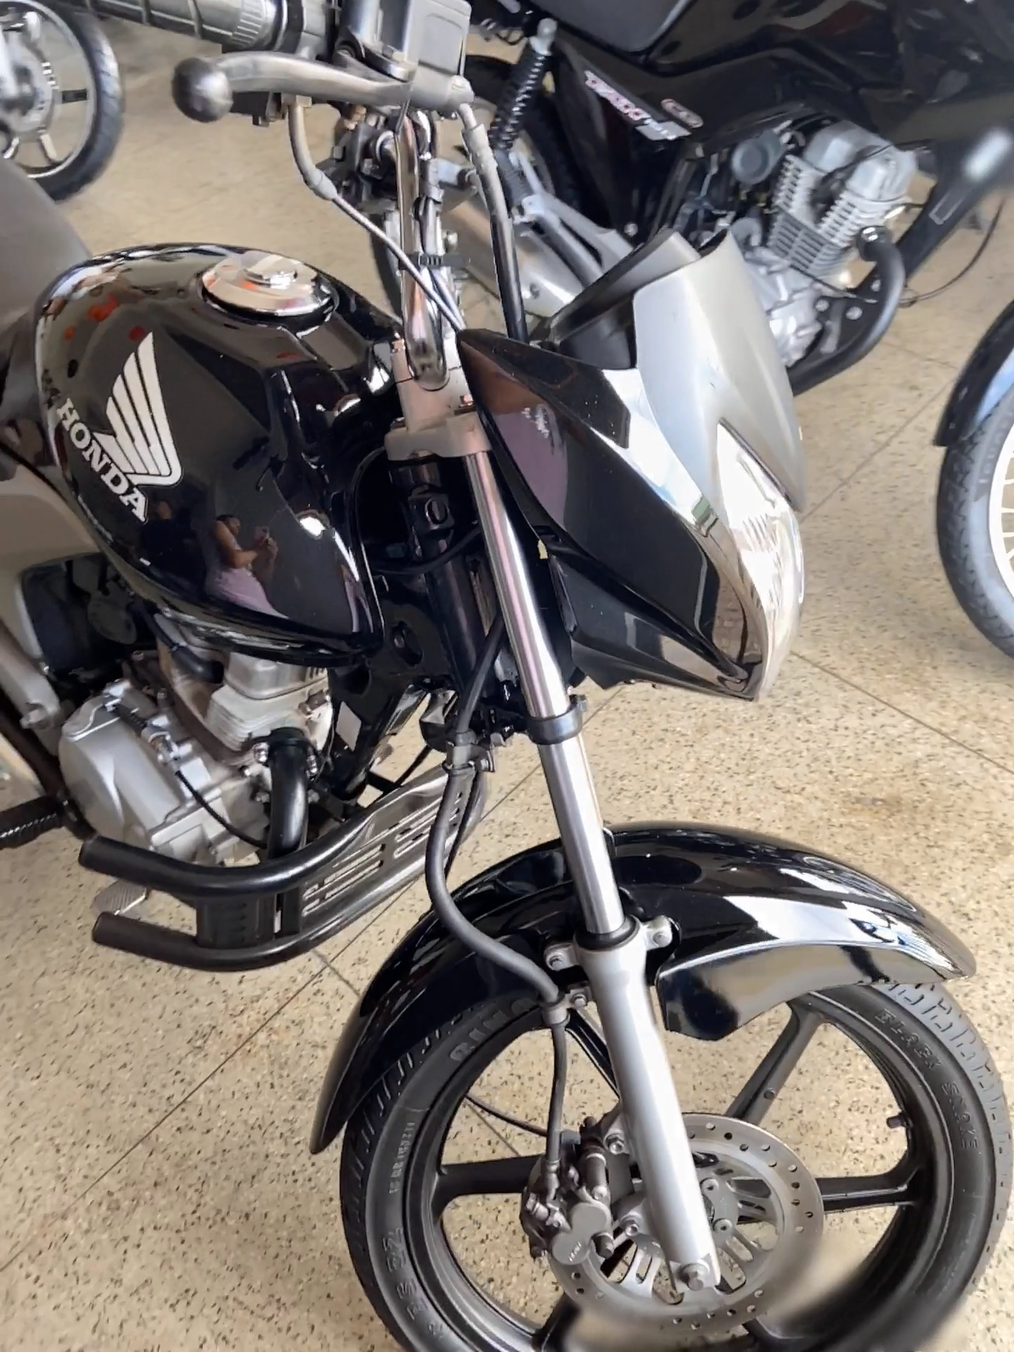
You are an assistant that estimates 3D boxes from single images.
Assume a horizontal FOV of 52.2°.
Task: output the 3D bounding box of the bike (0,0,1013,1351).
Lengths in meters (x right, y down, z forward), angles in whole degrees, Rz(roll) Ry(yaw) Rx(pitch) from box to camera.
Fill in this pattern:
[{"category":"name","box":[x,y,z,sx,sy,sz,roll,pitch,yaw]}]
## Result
[{"category":"bike","box":[-0.224,-0.183,1.126,1.738,1.138,0.776,29,58,25]}]
